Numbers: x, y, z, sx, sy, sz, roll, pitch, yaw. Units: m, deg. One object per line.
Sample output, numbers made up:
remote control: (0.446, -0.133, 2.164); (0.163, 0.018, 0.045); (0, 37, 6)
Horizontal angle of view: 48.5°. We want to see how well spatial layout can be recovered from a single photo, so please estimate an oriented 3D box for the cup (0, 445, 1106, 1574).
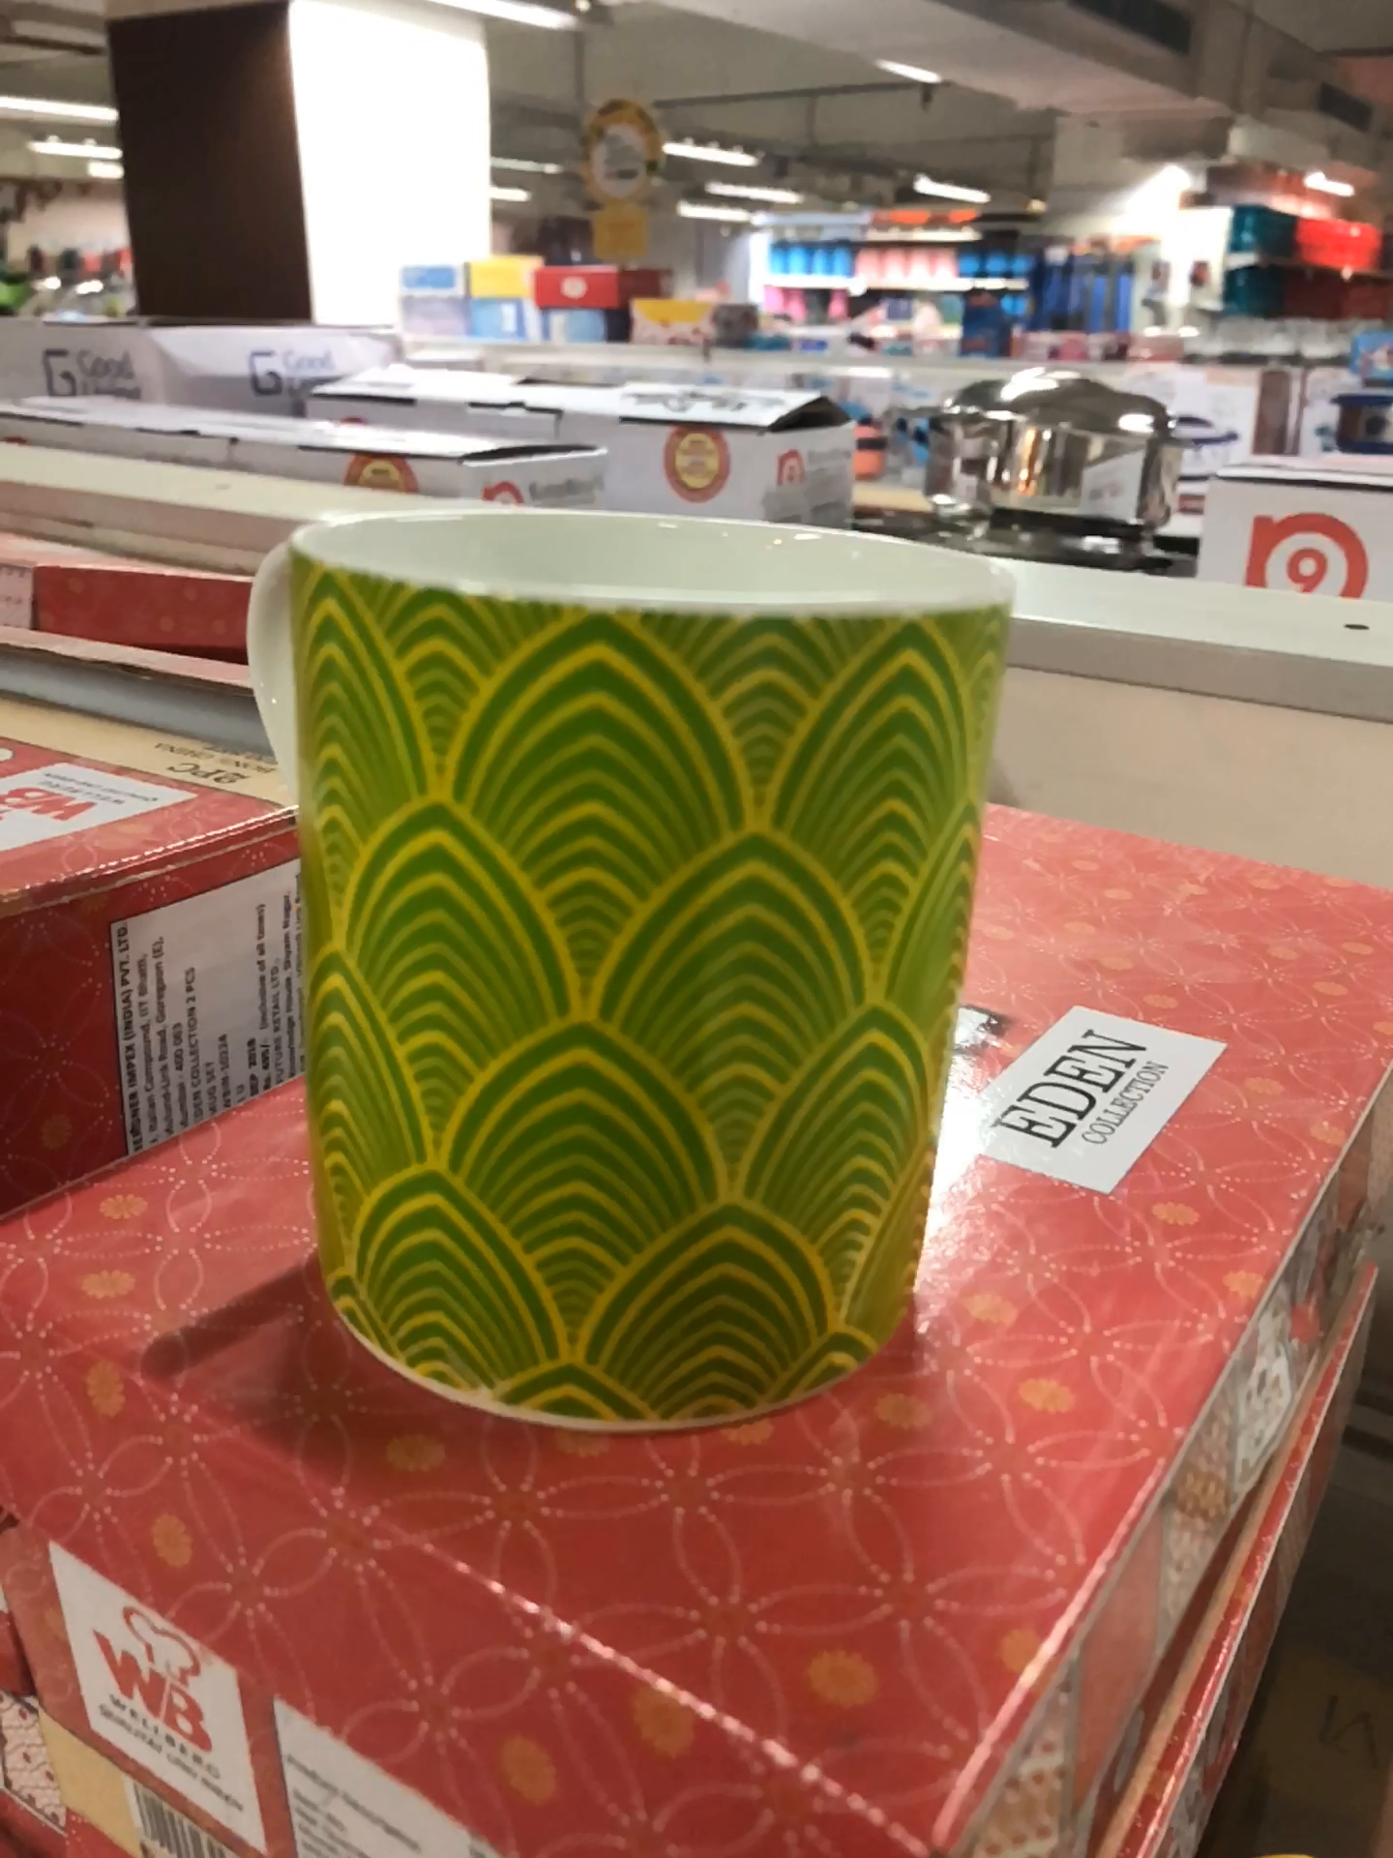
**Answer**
cup: (-0.016, -0.004, 0.175); (0.090, 0.090, 0.070); (16, 24, 33)
